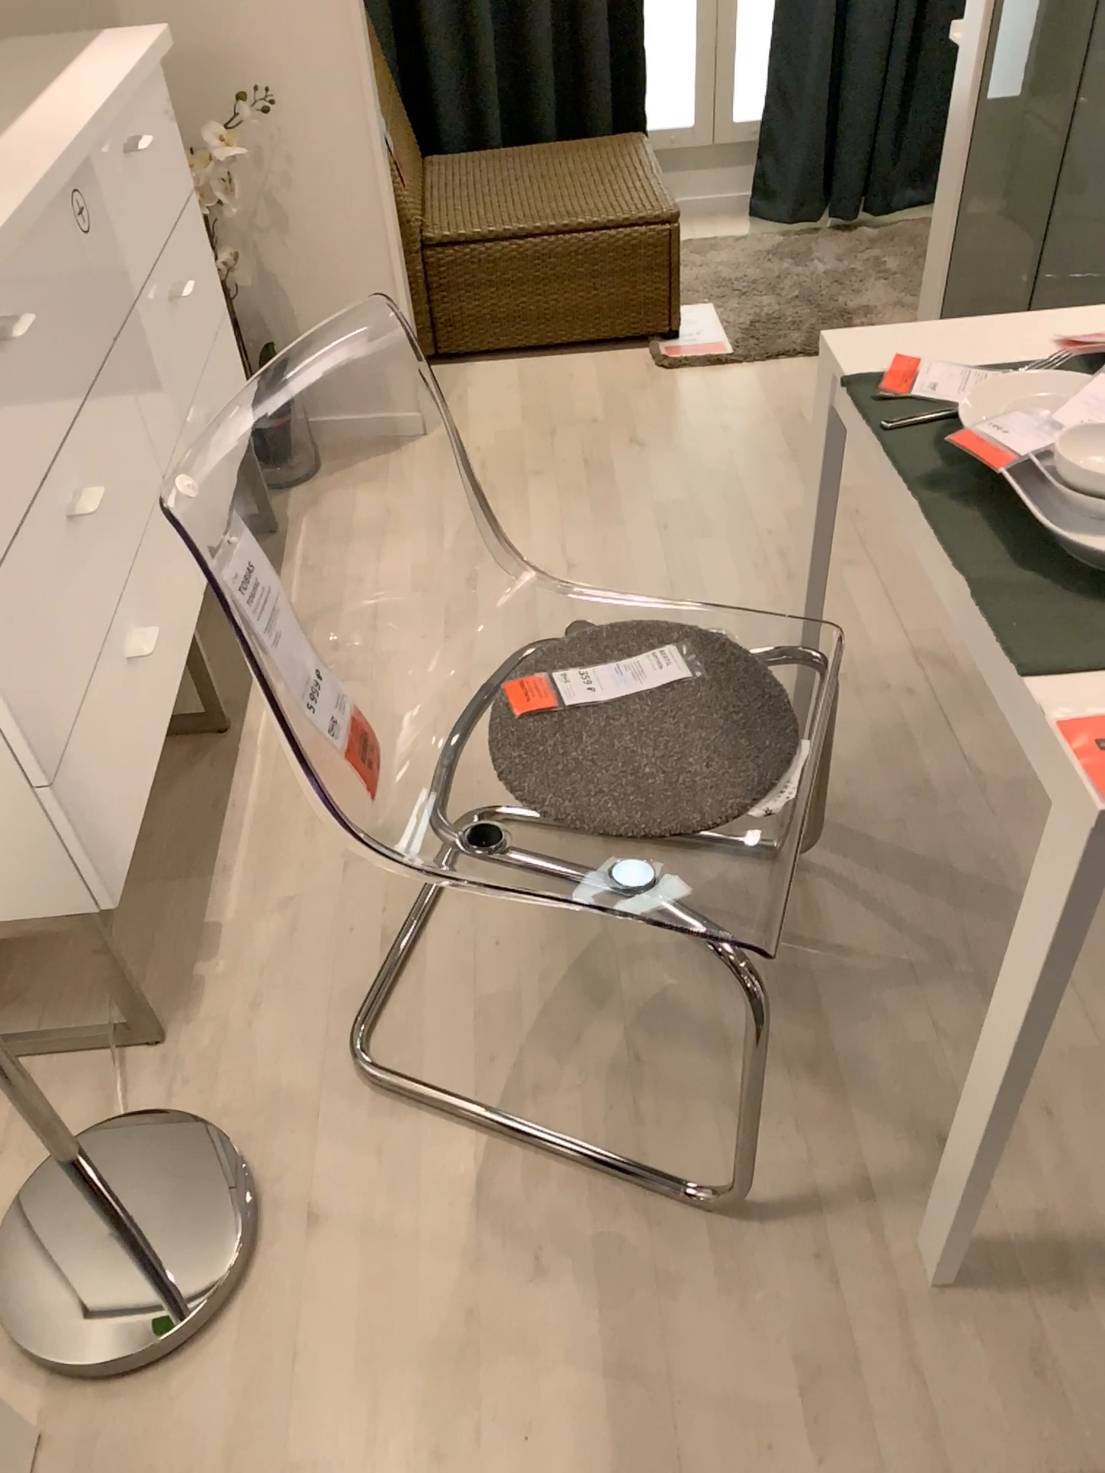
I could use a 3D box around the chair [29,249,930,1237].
[{"bbox_3d":[0.013,0.001,1.223,0.592,0.791,0.593,10,45,16],"label":"chair"}]
